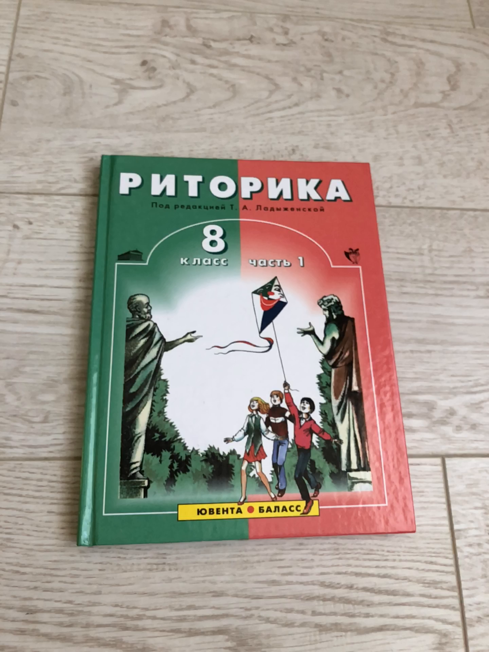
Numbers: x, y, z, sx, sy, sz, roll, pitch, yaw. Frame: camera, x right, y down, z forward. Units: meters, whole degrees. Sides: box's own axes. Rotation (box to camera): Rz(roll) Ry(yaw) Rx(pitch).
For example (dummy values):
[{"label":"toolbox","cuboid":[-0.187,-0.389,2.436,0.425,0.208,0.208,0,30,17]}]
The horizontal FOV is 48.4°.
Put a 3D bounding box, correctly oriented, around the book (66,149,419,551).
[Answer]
[{"label":"book","cuboid":[-0.003,0.002,0.307,0.170,0.020,0.223,0,71,-6]}]
